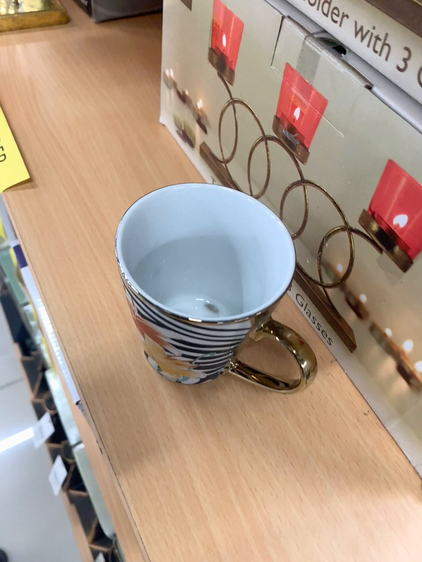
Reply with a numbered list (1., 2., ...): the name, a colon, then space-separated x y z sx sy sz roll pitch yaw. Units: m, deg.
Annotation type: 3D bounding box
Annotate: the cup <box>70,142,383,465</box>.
1. cup: 0.000 0.009 0.198 0.070 0.080 0.100 -35 66 -29
